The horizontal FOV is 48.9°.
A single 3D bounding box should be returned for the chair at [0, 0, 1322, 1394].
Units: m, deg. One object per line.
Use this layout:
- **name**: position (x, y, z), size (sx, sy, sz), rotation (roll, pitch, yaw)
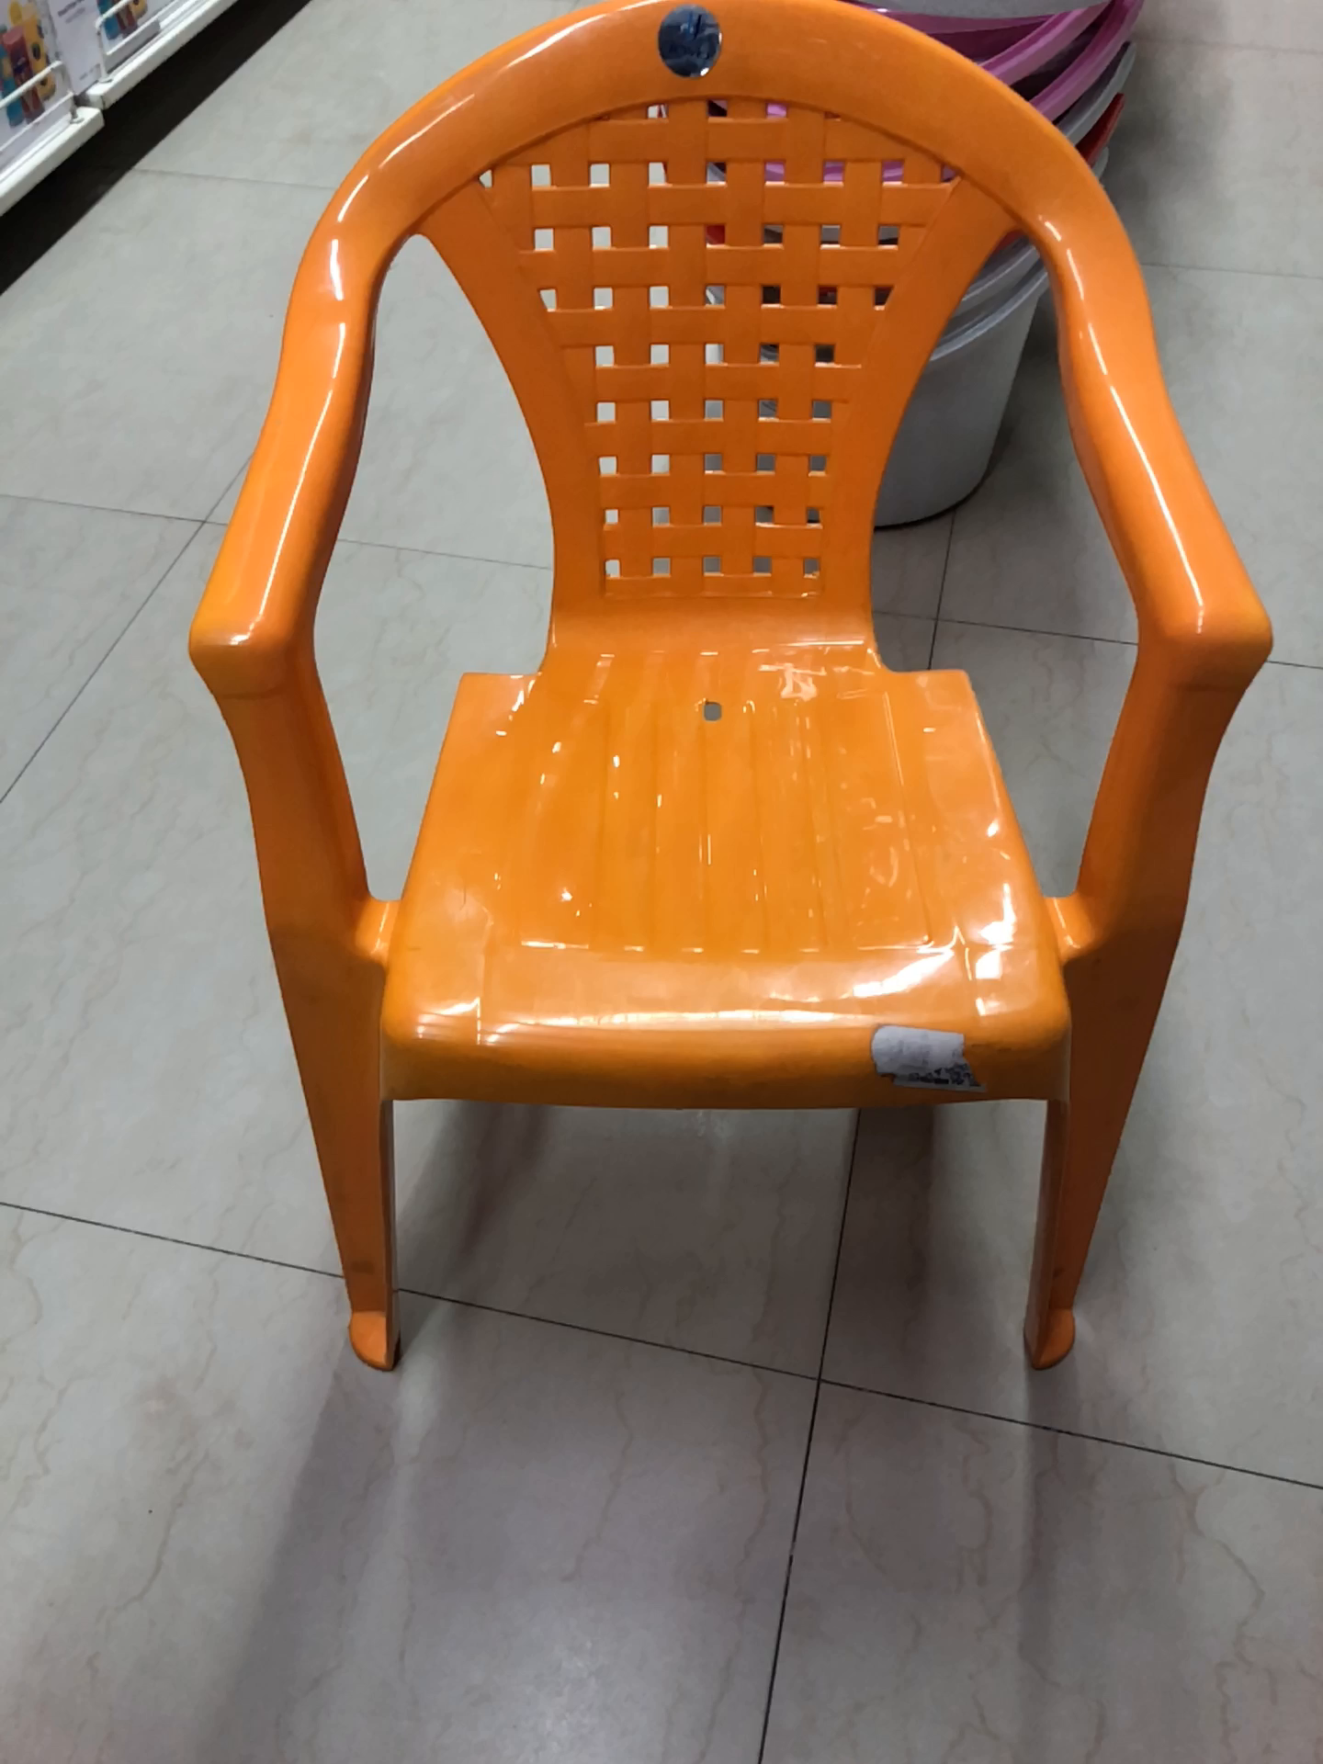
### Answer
- **chair**: position (0.021, -0.069, 0.639), size (0.390, 0.467, 0.403), rotation (0, 49, 2)
